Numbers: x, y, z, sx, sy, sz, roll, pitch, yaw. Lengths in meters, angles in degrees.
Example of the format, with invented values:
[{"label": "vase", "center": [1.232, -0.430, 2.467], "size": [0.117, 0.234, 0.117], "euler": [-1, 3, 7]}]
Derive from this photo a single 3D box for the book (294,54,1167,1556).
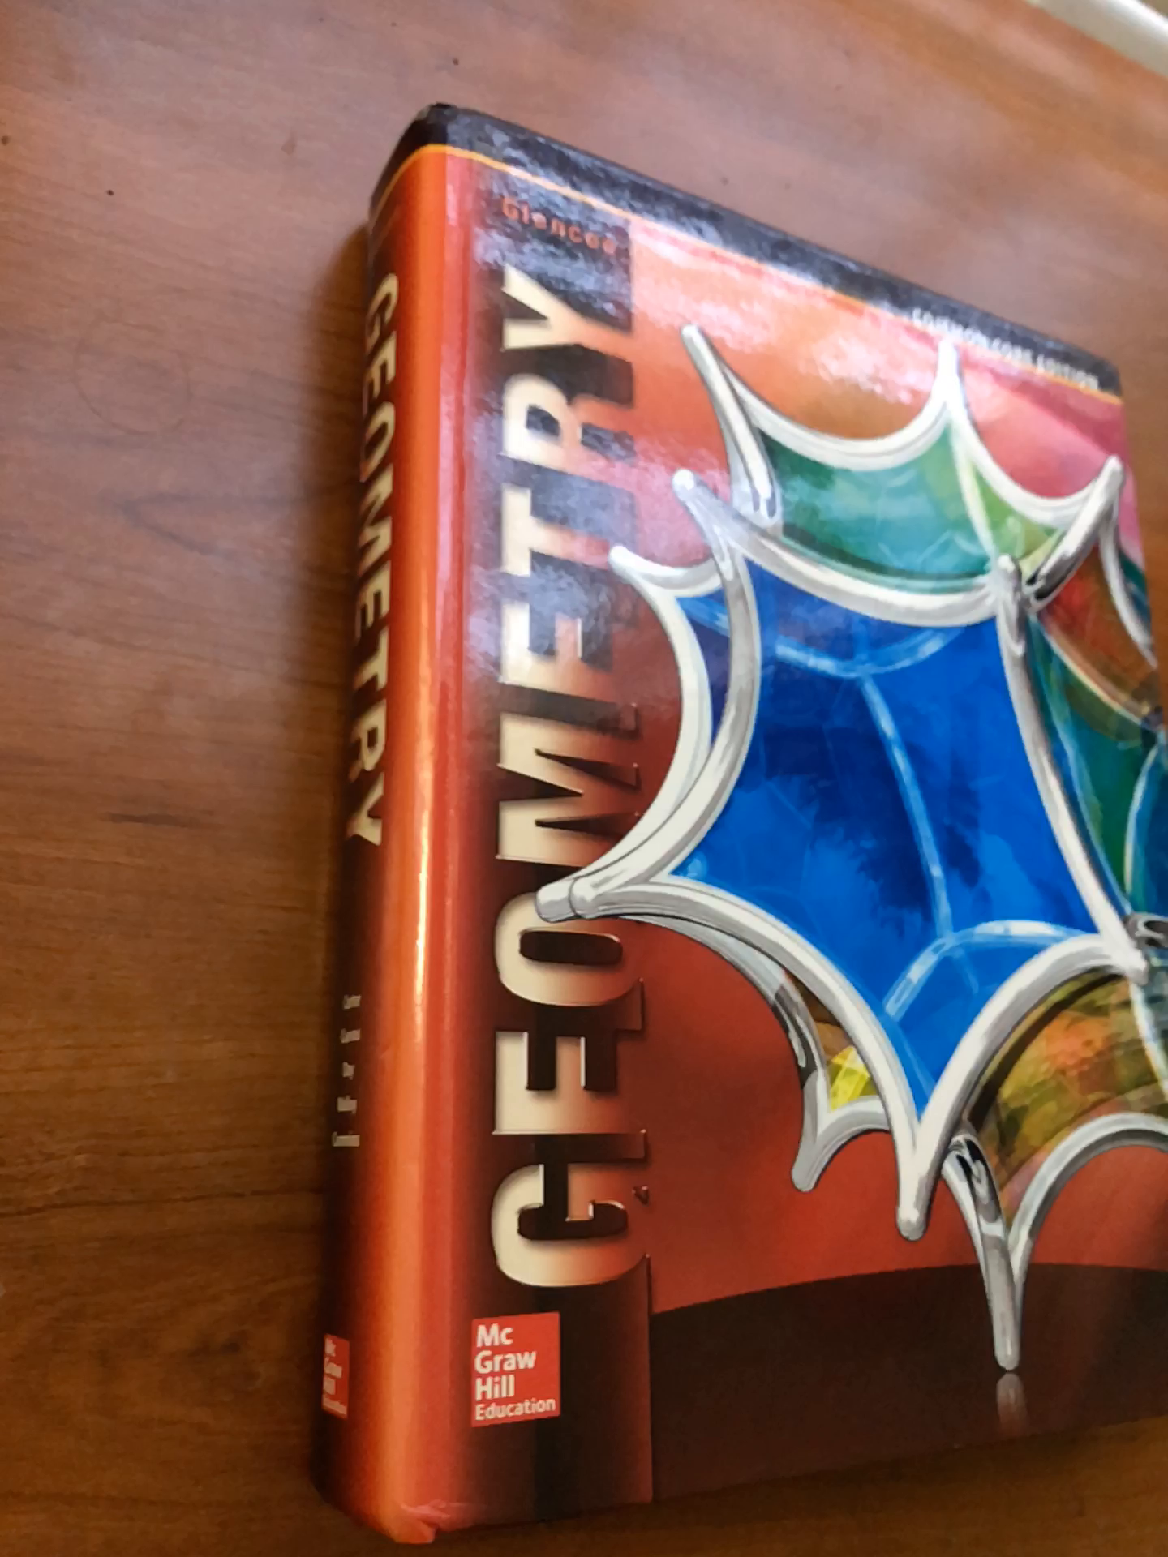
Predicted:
[{"label": "book", "center": [0.057, 0.010, 0.319], "size": [0.229, 0.050, 0.310], "euler": [8, 72, -28]}]
